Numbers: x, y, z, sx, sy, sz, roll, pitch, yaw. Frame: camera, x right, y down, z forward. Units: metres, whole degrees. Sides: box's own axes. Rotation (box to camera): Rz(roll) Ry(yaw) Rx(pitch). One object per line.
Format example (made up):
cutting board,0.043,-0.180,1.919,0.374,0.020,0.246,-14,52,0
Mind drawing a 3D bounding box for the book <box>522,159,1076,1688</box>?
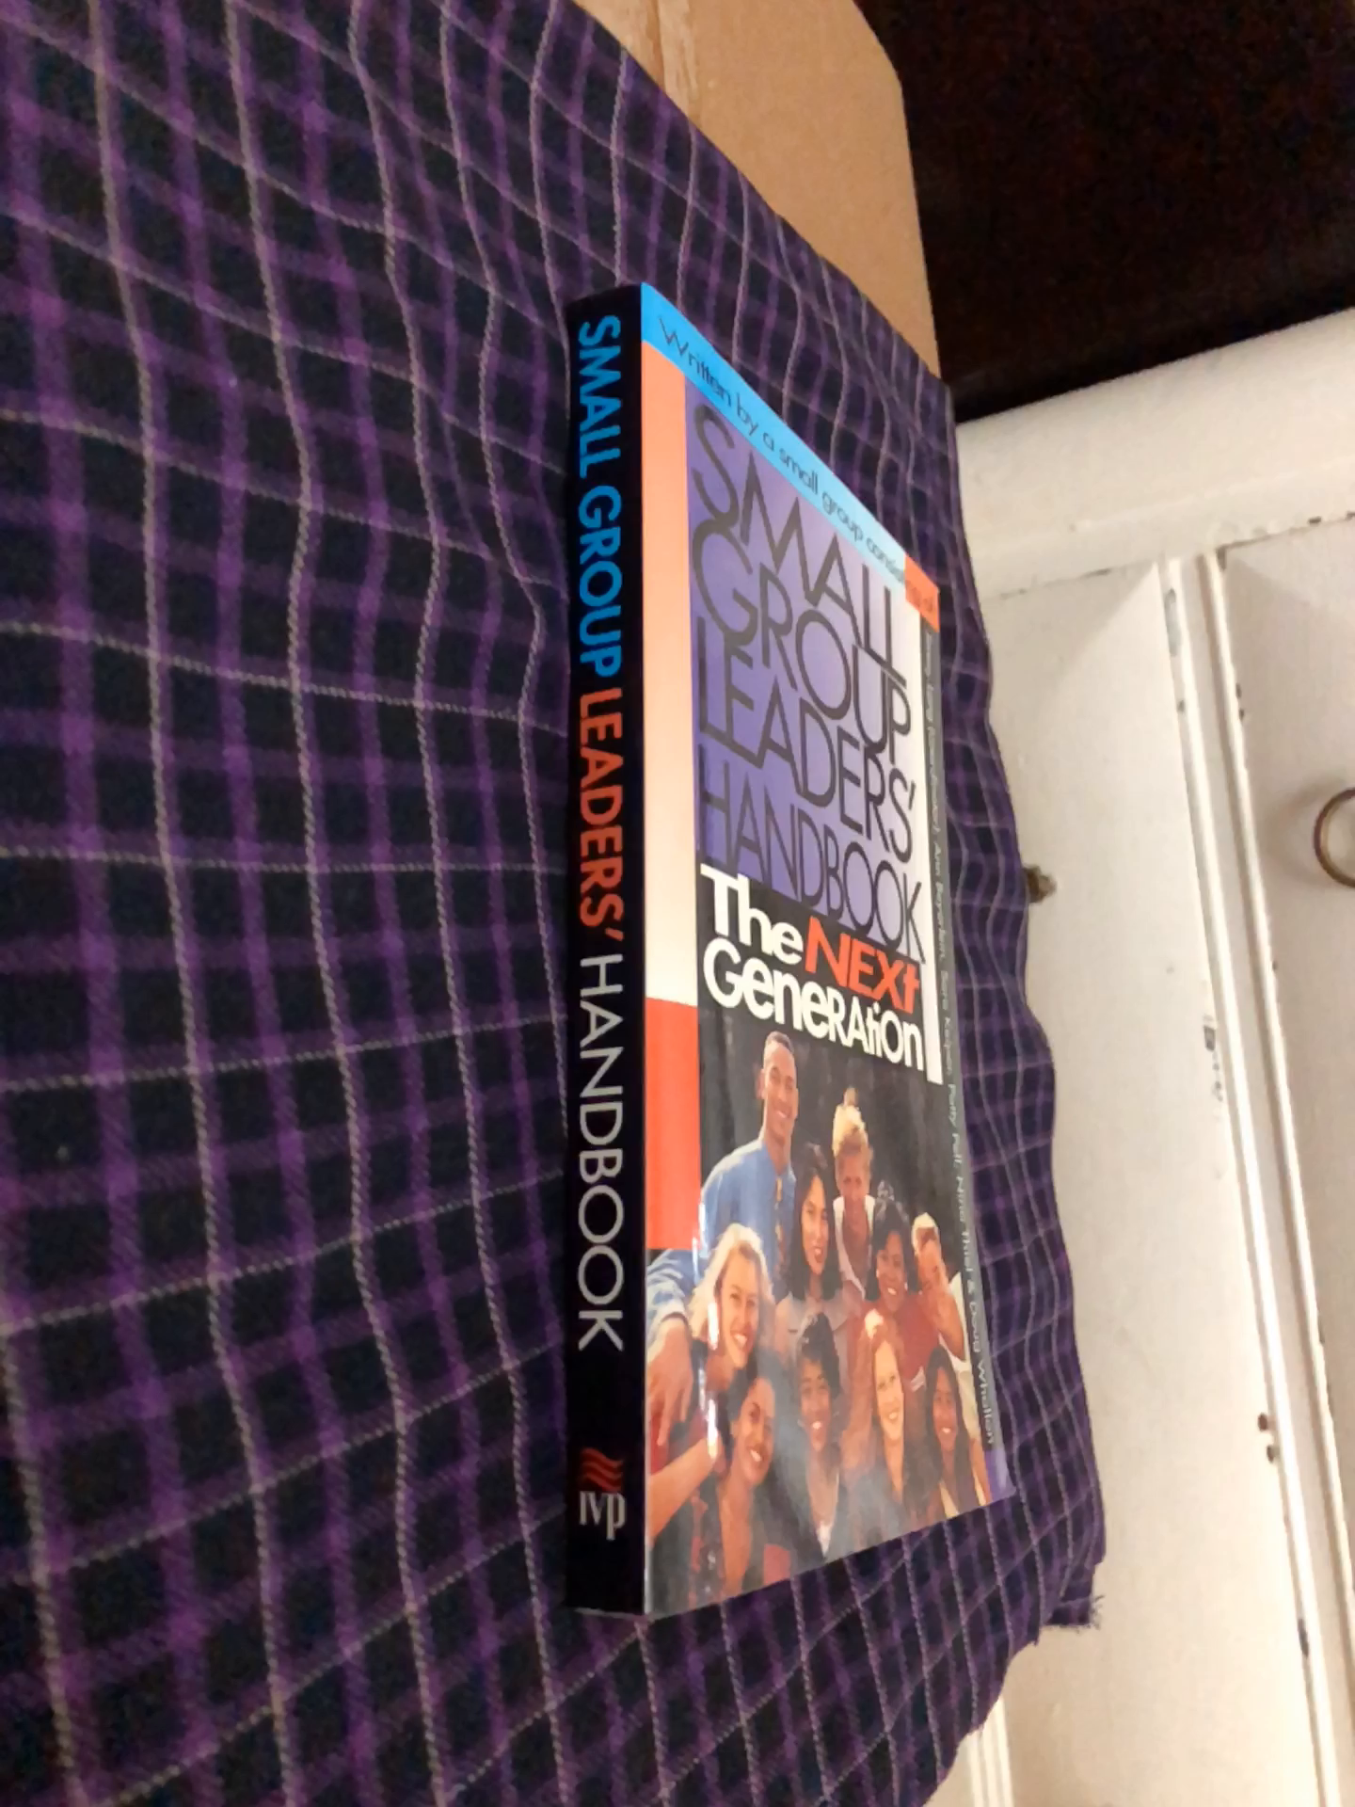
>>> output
book,0.029,0.006,0.280,0.151,0.030,0.220,22,62,-57
